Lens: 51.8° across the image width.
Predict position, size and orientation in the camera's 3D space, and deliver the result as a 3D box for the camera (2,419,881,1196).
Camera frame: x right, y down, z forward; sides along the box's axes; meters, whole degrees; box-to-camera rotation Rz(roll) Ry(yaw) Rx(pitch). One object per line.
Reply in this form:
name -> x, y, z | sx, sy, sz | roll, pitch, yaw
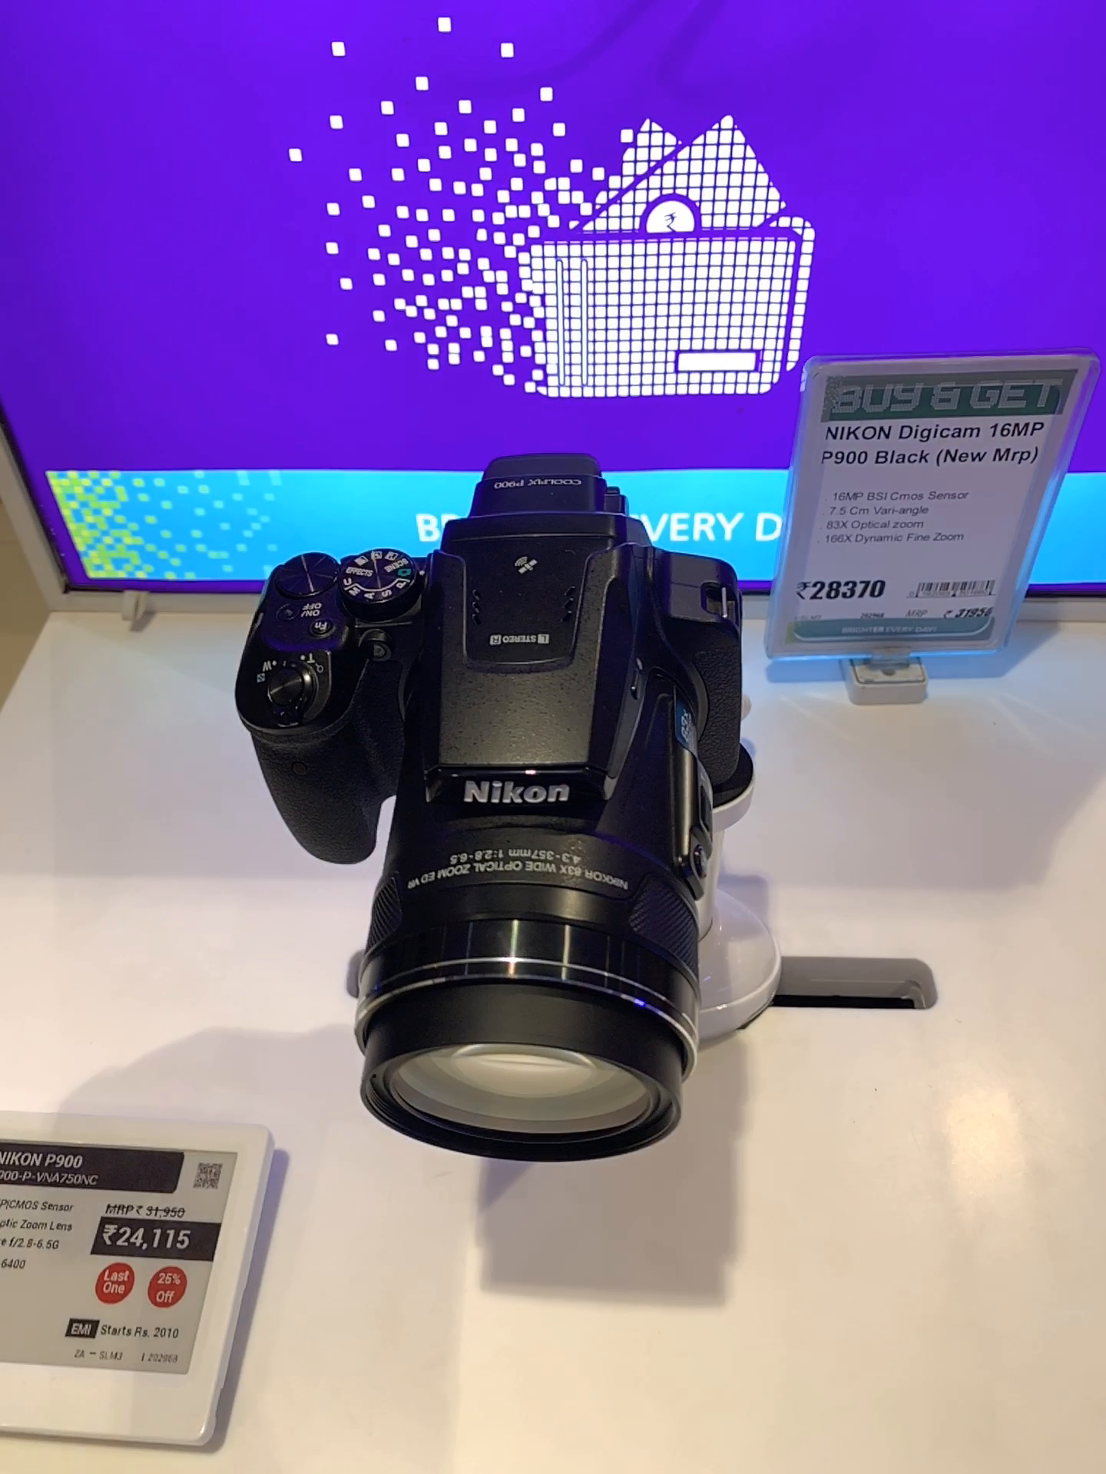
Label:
camera -> -0.015, 0.008, 0.269 | 0.140, 0.090, 0.161 | 1, 46, 2
